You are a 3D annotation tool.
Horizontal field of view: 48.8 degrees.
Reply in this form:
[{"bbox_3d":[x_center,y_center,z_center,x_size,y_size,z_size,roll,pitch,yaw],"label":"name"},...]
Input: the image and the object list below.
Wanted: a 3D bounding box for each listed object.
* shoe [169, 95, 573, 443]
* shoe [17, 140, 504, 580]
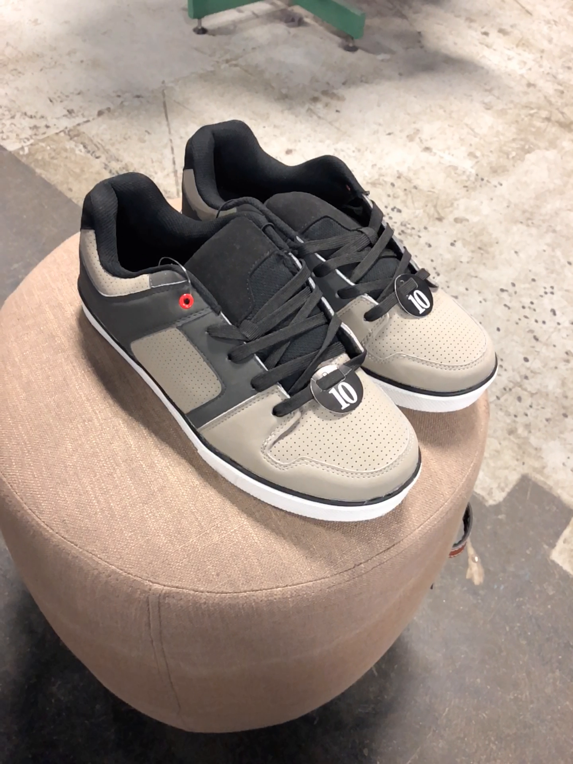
[{"bbox_3d":[0.049,-0.097,0.472,0.281,0.089,0.110,39,59,23],"label":"shoe"},{"bbox_3d":[-0.028,-0.031,0.401,0.281,0.089,0.120,39,59,23],"label":"shoe"}]
